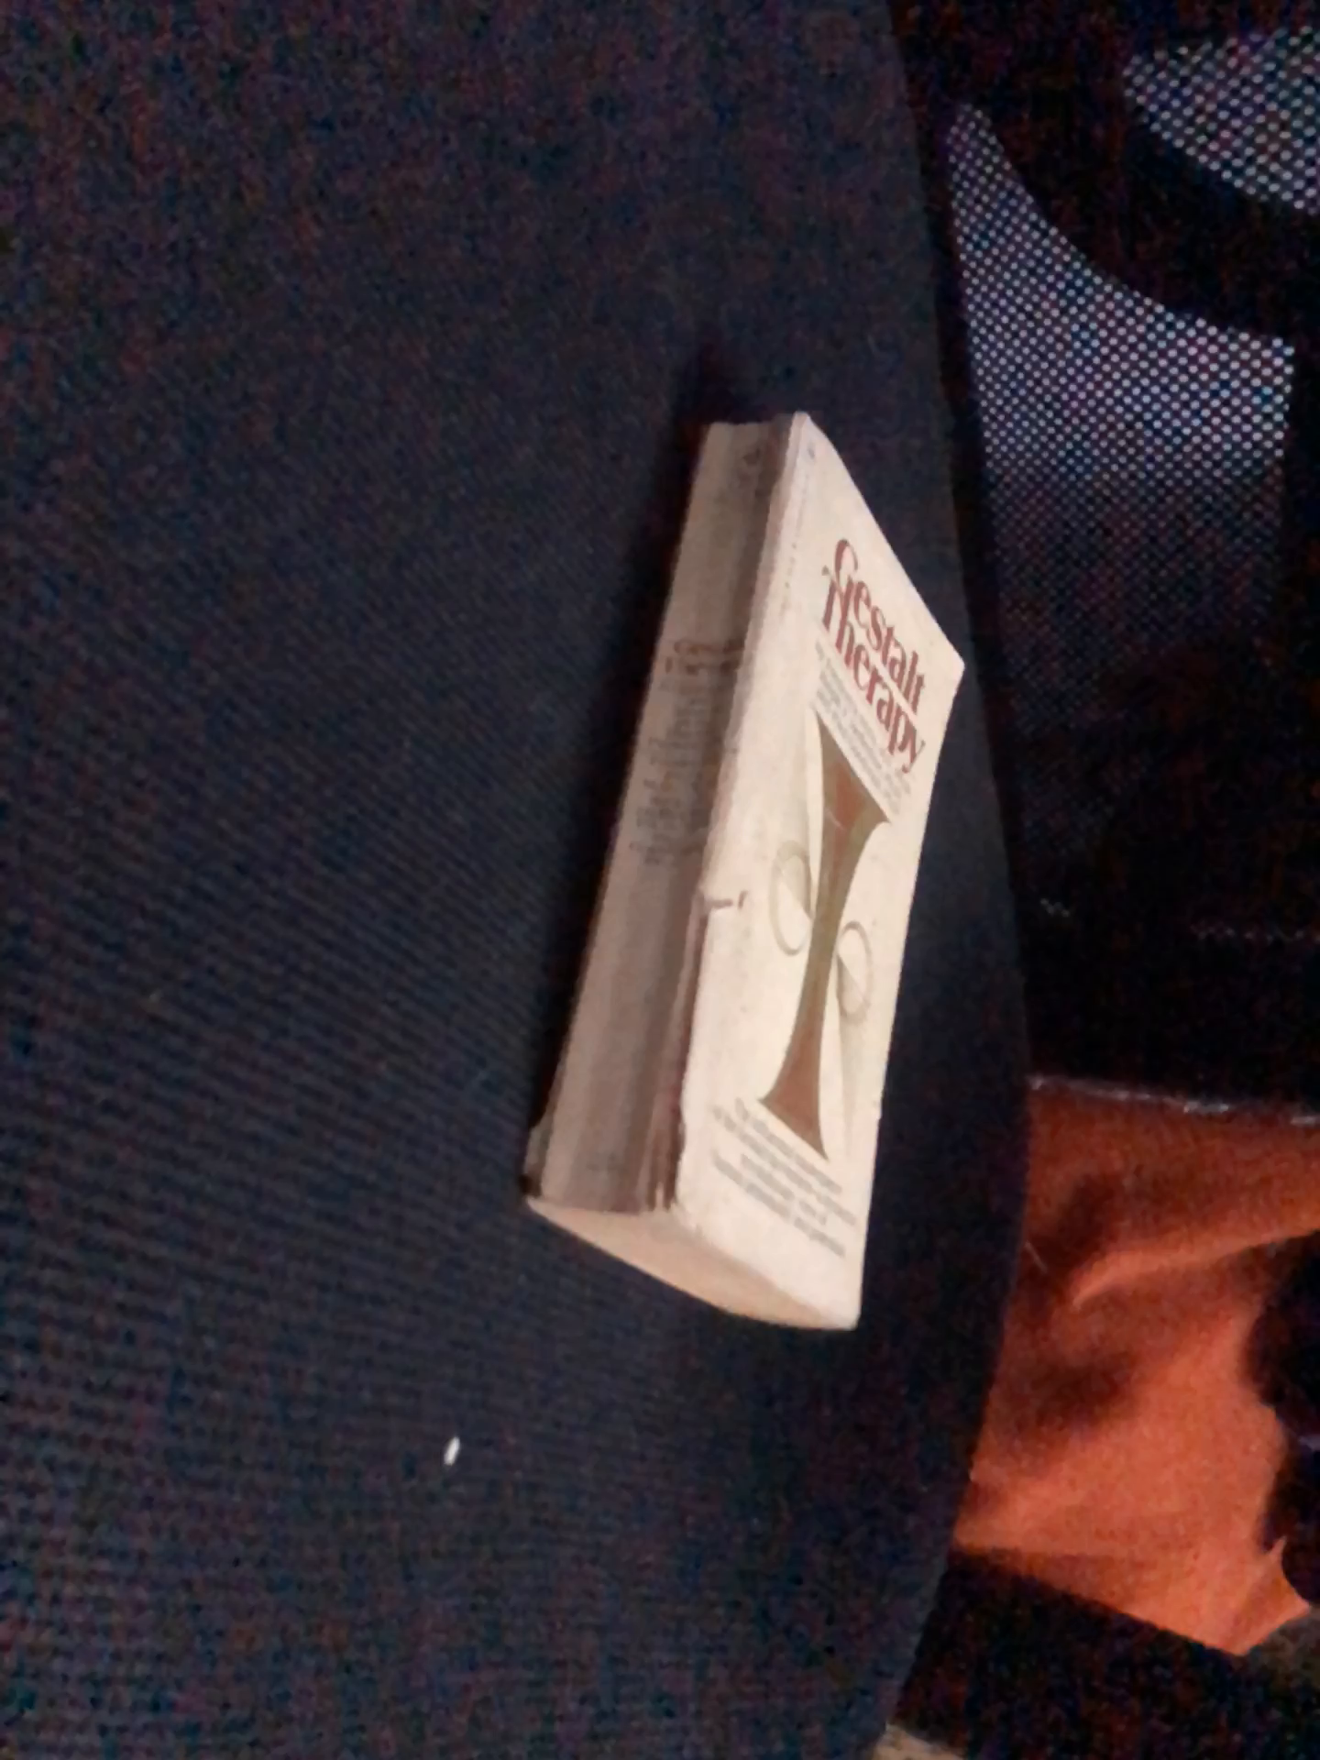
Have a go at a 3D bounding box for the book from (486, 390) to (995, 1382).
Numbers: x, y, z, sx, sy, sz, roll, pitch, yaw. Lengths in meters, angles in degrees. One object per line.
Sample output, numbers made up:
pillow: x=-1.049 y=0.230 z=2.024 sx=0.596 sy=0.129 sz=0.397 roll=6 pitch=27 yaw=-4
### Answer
book: x=0.031 y=0.006 z=0.325 sx=0.121 sy=0.034 sz=0.182 roll=43 pitch=53 yaw=-50
